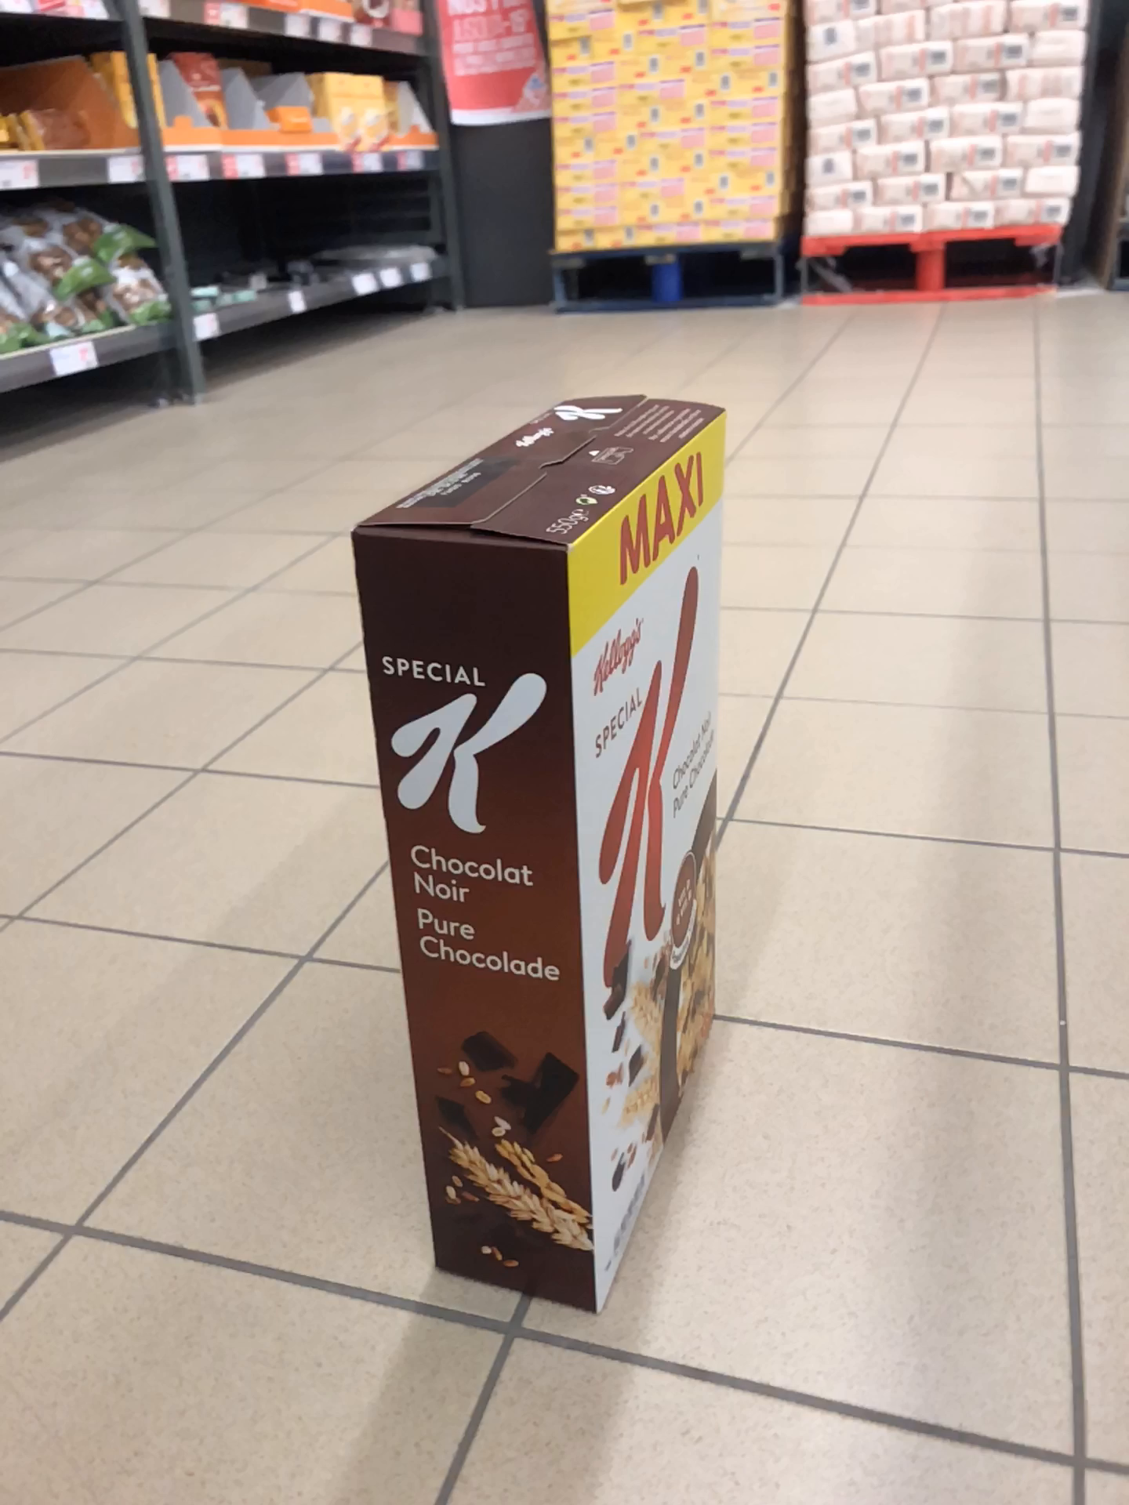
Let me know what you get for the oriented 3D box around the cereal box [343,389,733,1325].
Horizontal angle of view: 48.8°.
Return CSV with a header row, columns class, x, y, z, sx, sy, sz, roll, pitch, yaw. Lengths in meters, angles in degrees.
class,x,y,z,sx,sy,sz,roll,pitch,yaw
cereal box,0.007,0.027,0.495,0.070,0.298,0.211,7,26,17
